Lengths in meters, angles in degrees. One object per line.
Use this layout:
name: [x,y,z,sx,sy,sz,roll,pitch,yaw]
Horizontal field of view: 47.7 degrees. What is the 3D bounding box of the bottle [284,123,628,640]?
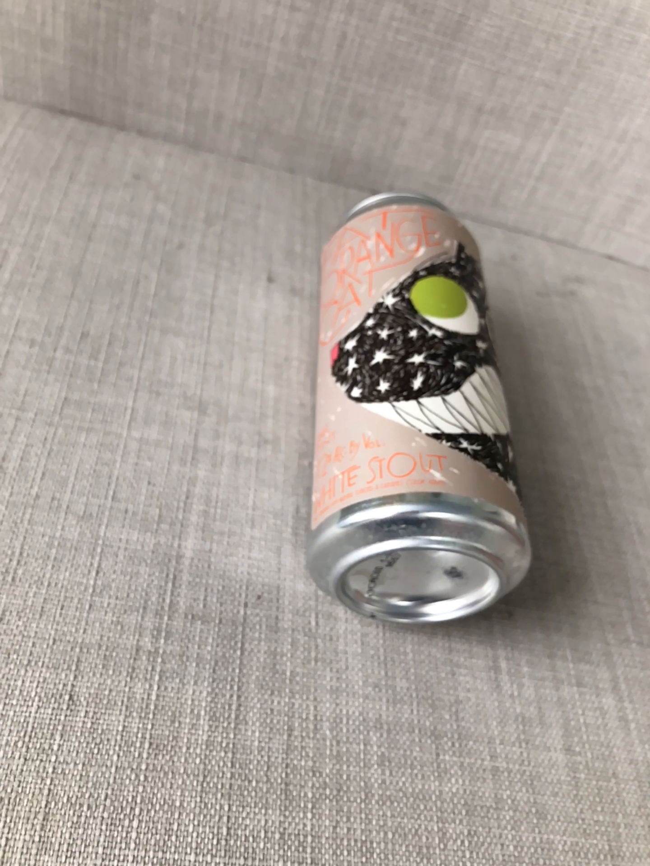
bottle: [0.033,-0.020,0.246,0.070,0.069,0.151,11,54,-14]
